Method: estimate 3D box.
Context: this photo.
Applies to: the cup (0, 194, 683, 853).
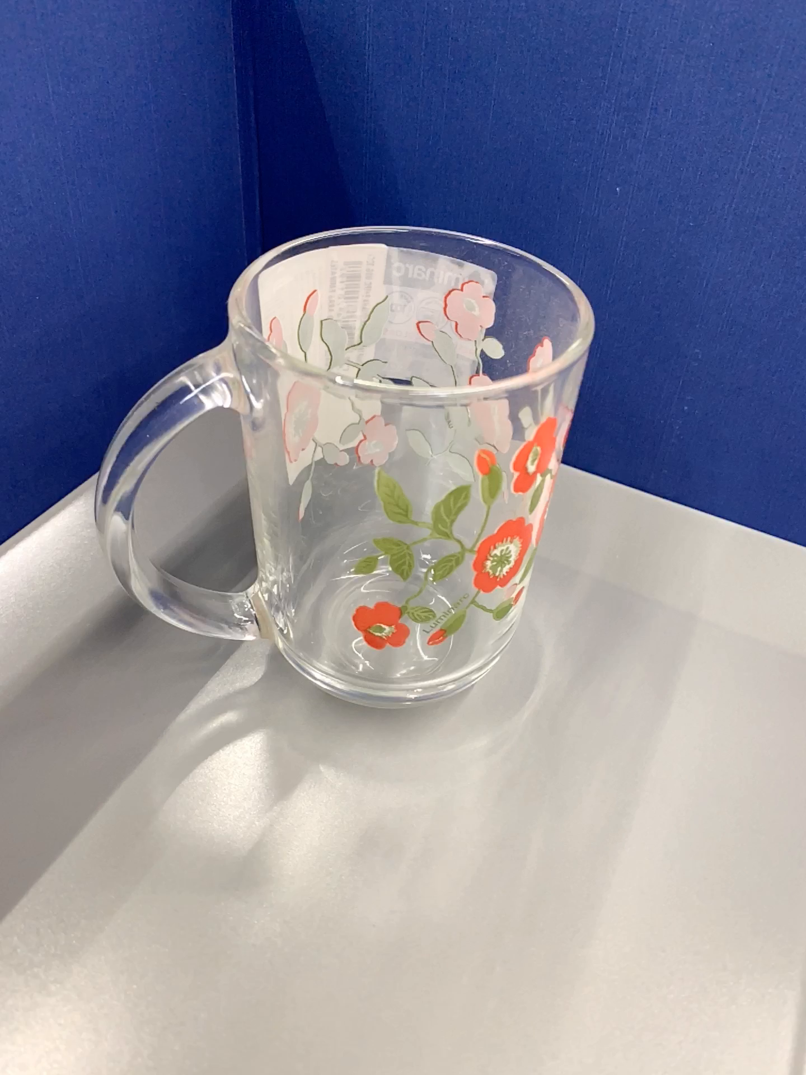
[{"bbox_3d":[-0.020,-0.011,0.202,0.115,0.104,0.088,-15,43,-22],"label":"cup"}]
